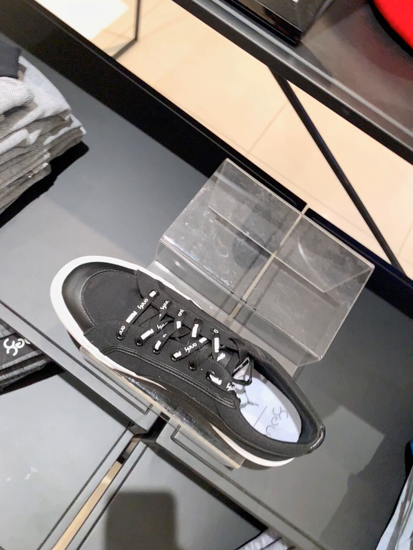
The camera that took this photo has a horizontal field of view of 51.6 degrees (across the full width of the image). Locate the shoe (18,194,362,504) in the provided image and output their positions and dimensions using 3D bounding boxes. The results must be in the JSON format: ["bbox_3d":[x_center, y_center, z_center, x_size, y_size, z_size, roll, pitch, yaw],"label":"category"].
[{"bbox_3d":[-0.018,0.068,0.401,0.280,0.100,0.110,37,66,2],"label":"shoe"}]
